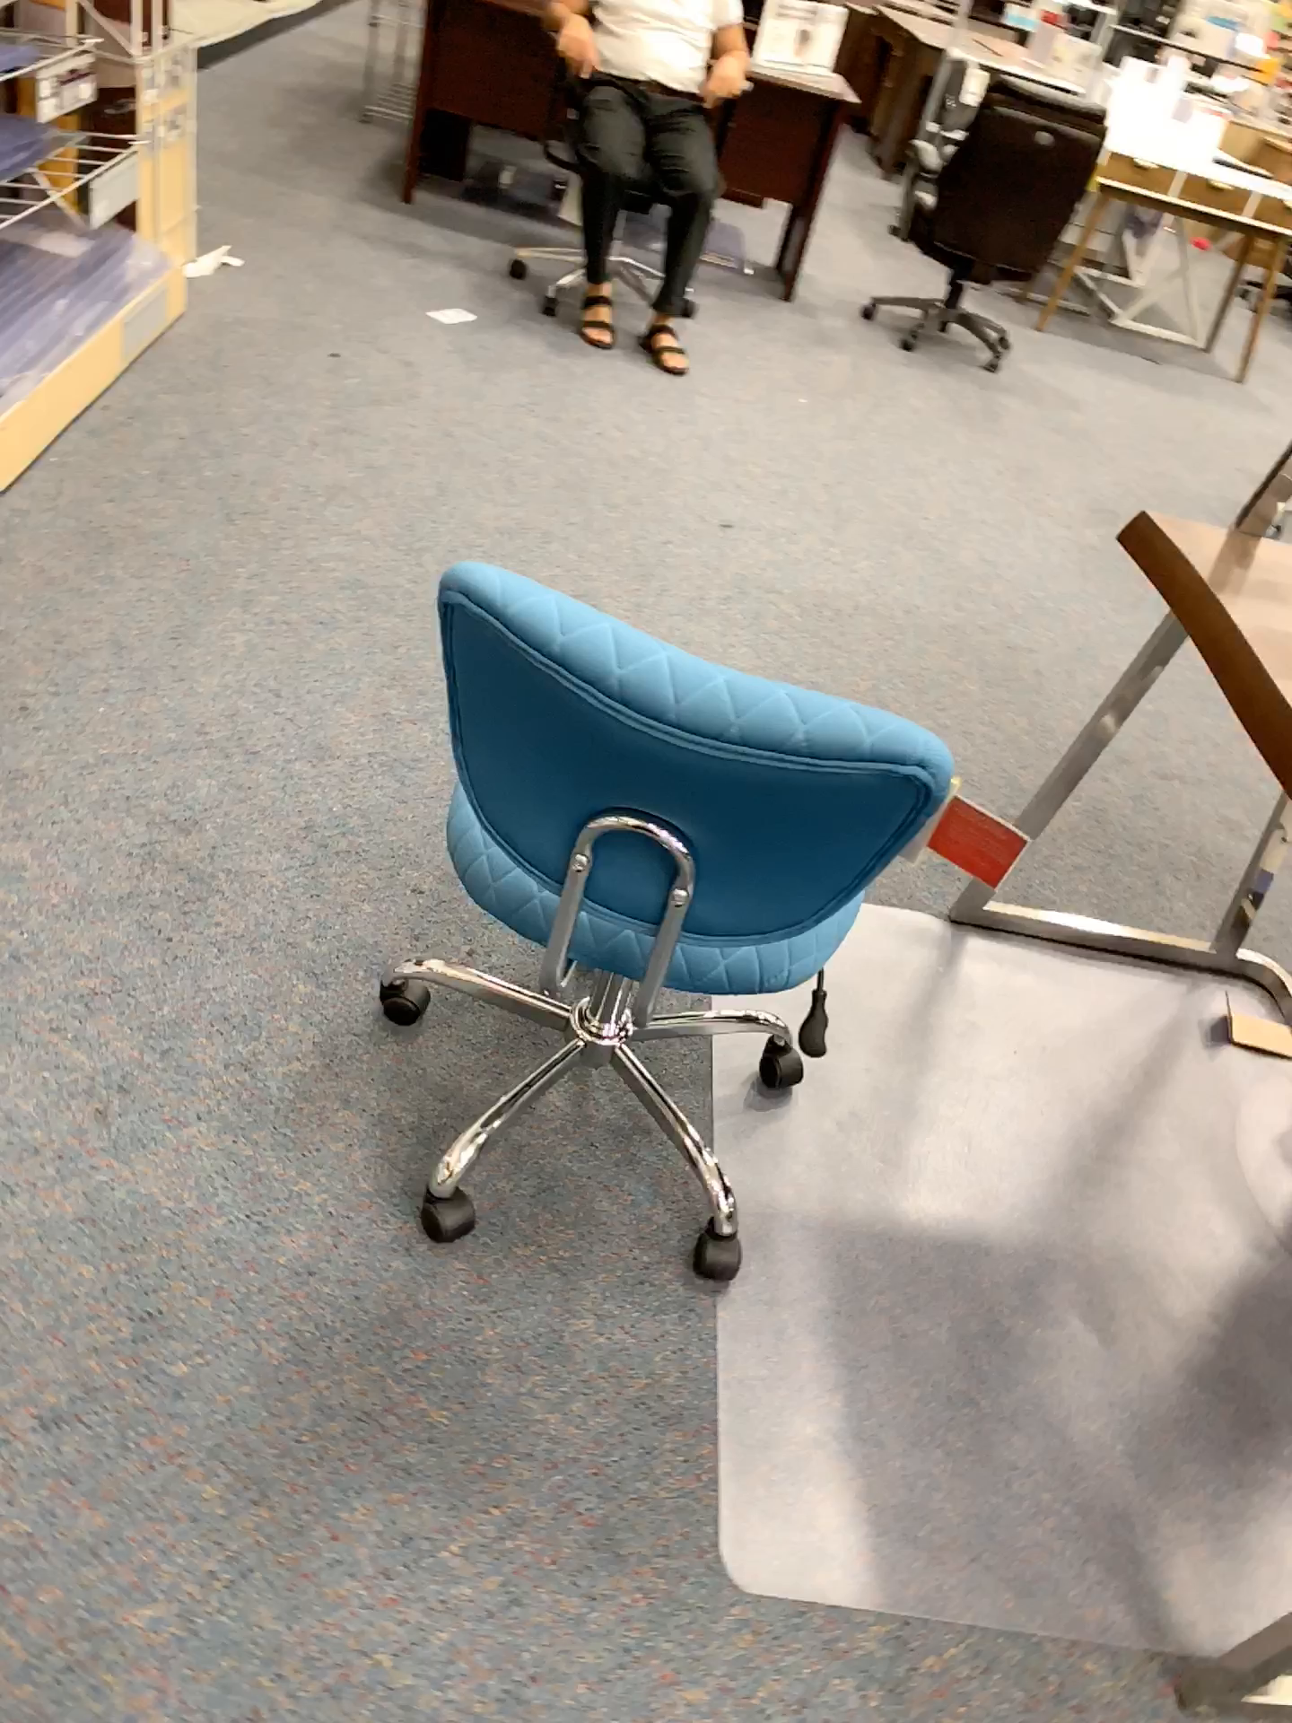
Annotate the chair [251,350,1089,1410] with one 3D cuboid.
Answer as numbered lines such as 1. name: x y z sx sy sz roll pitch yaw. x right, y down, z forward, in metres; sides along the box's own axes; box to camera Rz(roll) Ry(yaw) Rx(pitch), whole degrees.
1. chair: 0.026 -0.004 1.449 0.598 0.775 0.668 19 36 4

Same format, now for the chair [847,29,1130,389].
1. chair: 1.245 -2.430 4.900 0.638 0.954 0.859 18 36 3

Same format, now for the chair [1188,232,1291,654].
1. chair: 2.489 -1.289 3.983 1.438 0.874 0.700 -18 49 -38
